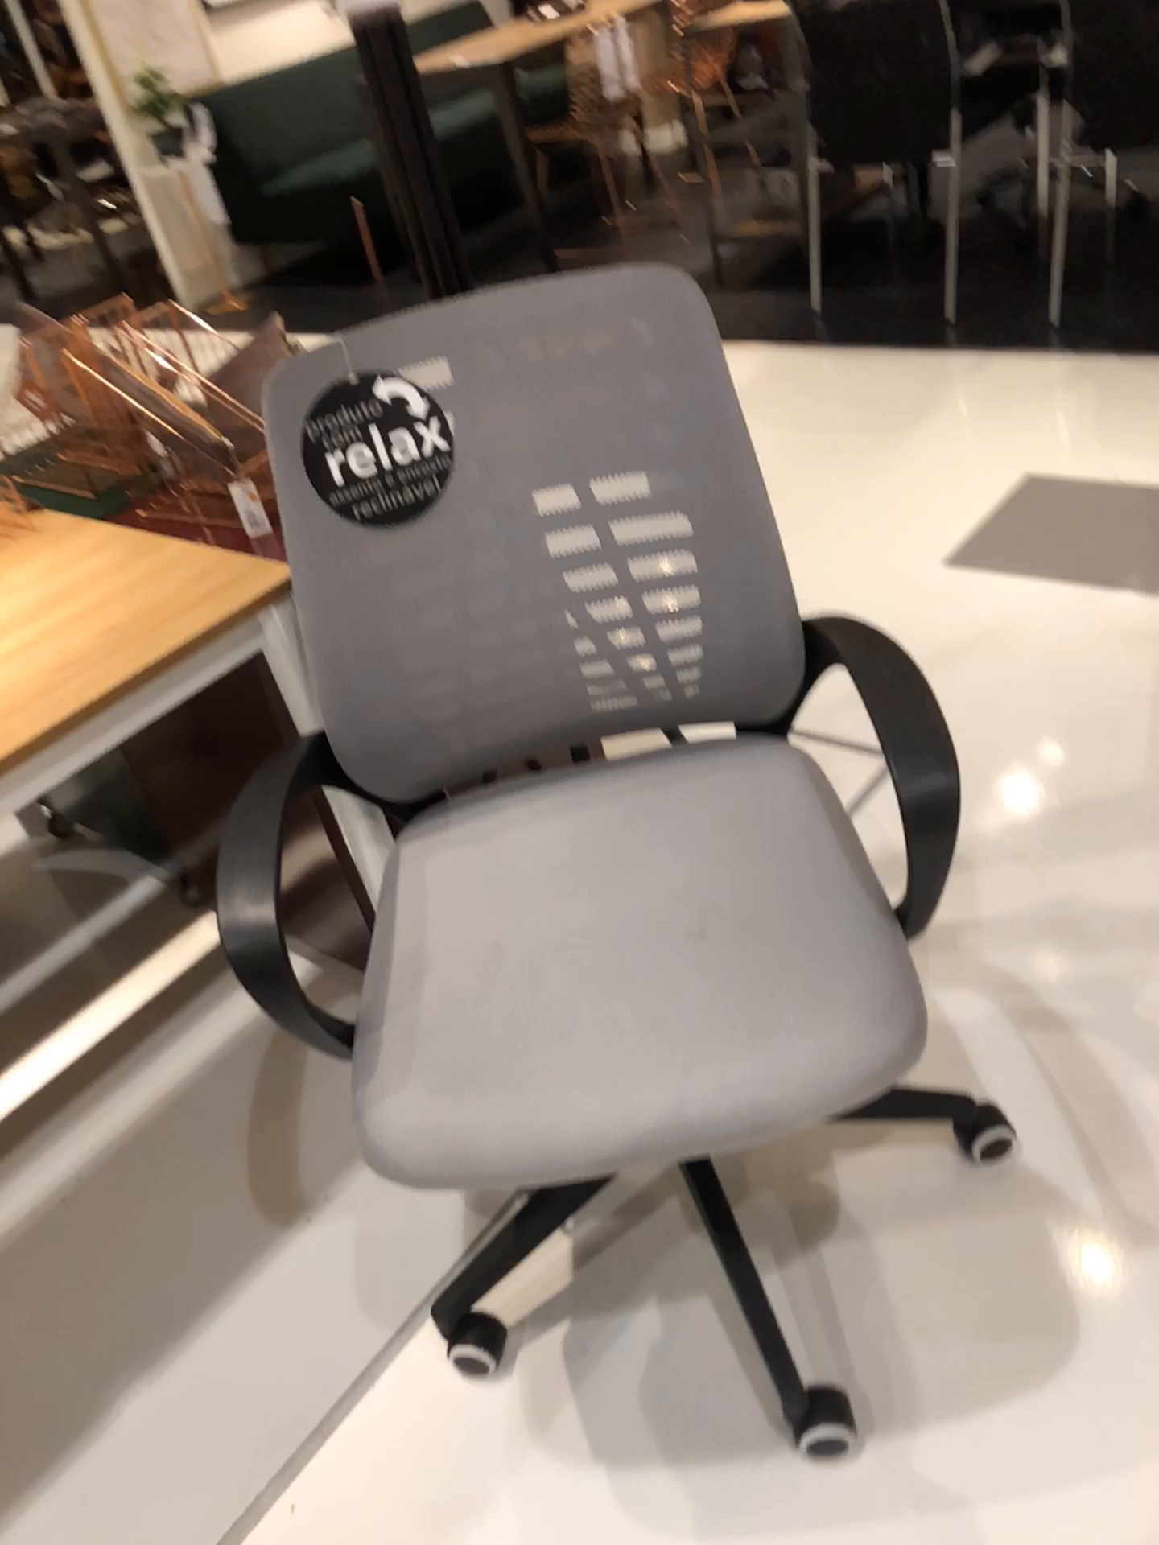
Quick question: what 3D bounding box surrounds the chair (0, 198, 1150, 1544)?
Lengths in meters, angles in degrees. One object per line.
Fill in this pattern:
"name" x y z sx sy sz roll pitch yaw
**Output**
"chair" 0.006 0.101 1.093 0.660 0.853 0.665 -12 34 5
